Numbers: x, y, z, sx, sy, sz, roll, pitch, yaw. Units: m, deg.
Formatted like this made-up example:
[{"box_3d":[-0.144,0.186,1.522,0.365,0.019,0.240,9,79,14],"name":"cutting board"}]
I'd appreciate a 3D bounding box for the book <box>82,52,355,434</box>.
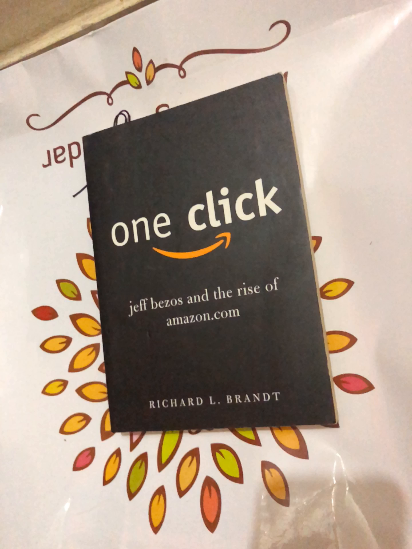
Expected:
[{"box_3d":[-0.004,-0.014,0.304,0.160,0.020,0.220,-11,78,23],"name":"book"}]
